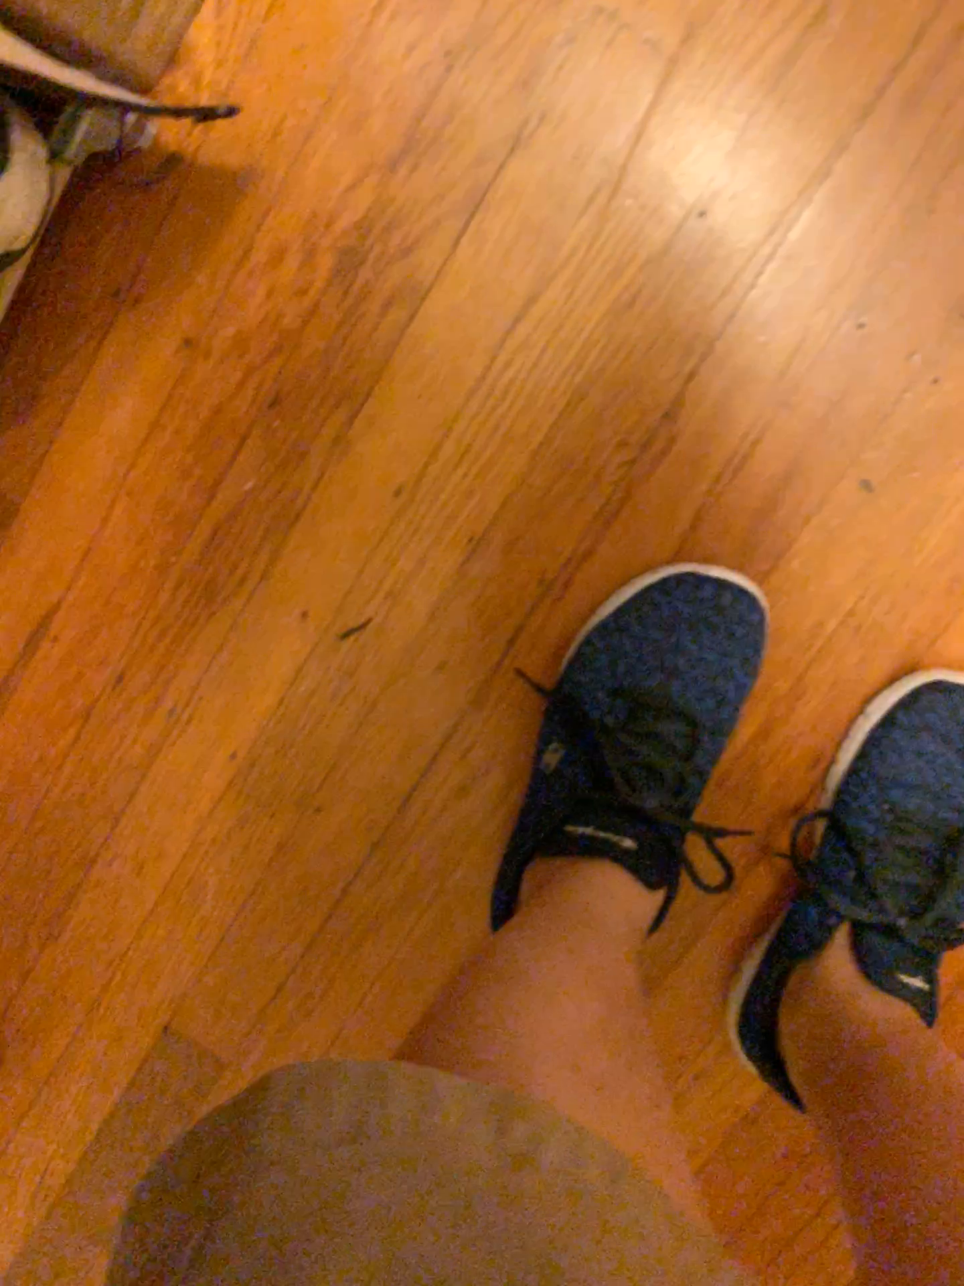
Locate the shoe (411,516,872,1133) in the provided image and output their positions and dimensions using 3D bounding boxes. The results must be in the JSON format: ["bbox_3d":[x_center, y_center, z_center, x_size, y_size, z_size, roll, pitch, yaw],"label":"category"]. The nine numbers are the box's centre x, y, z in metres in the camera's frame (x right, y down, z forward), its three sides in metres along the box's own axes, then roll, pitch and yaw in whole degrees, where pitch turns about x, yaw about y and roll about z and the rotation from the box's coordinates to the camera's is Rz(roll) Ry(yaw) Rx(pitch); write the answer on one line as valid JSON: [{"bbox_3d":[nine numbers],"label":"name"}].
[{"bbox_3d":[0.078,0.092,0.568,0.115,0.150,0.290,23,104,1],"label":"shoe"}]

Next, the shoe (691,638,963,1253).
[{"bbox_3d":[0.233,0.160,0.558,0.117,0.130,0.280,21,104,1],"label":"shoe"}]
